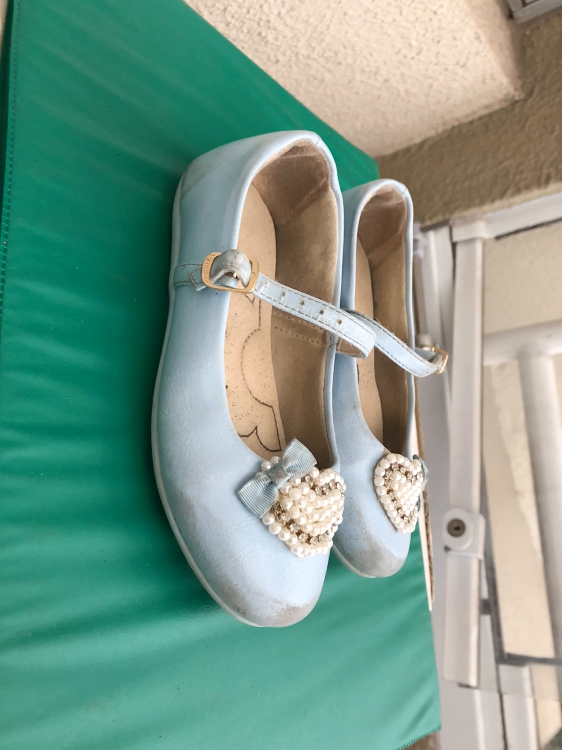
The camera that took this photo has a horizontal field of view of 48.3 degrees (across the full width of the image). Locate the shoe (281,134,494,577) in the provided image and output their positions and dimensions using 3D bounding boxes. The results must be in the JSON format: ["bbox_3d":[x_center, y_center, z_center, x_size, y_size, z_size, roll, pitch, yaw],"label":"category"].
[{"bbox_3d":[0.047,-0.003,0.278,0.081,0.050,0.170,16,68,-53],"label":"shoe"}]

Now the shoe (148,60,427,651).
[{"bbox_3d":[0.003,-0.004,0.223,0.087,0.050,0.170,16,68,-53],"label":"shoe"}]
